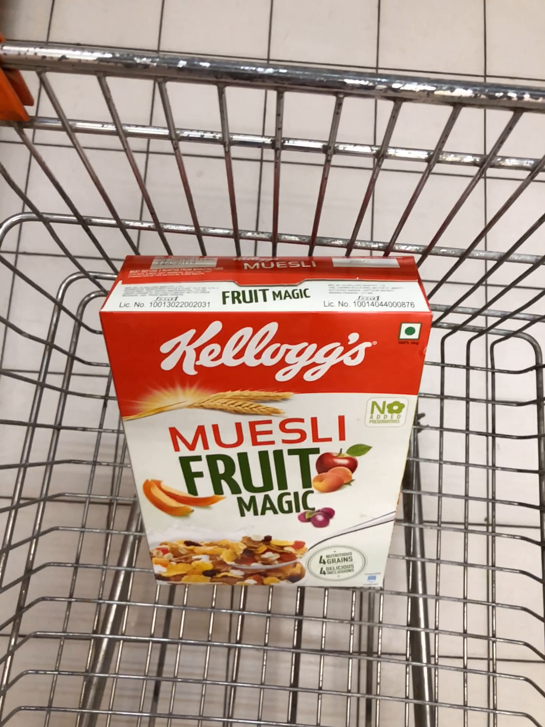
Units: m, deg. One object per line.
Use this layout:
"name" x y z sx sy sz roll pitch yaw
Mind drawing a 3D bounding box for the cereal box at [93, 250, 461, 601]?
"cereal box" 0.000 0.059 0.441 0.200 0.269 0.080 0 37 -2
